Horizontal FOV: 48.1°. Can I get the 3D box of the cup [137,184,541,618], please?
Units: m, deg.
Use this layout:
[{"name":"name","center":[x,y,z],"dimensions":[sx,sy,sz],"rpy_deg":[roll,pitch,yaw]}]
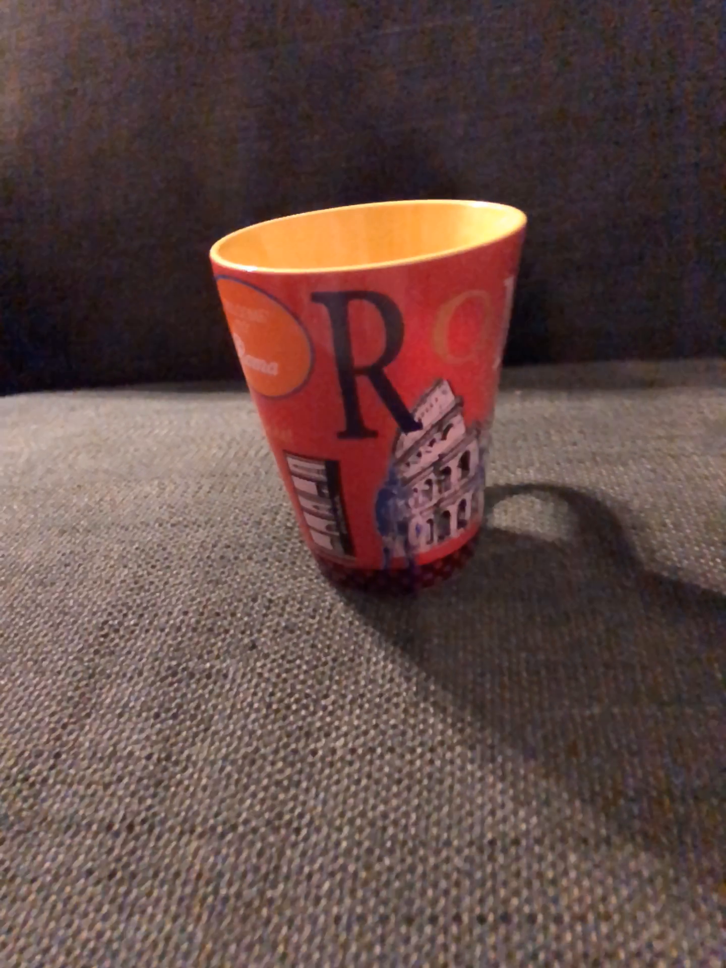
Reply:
[{"name":"cup","center":[0.005,-0.037,0.269],"dimensions":[0.090,0.099,0.121],"rpy_deg":[4,27,17]}]
